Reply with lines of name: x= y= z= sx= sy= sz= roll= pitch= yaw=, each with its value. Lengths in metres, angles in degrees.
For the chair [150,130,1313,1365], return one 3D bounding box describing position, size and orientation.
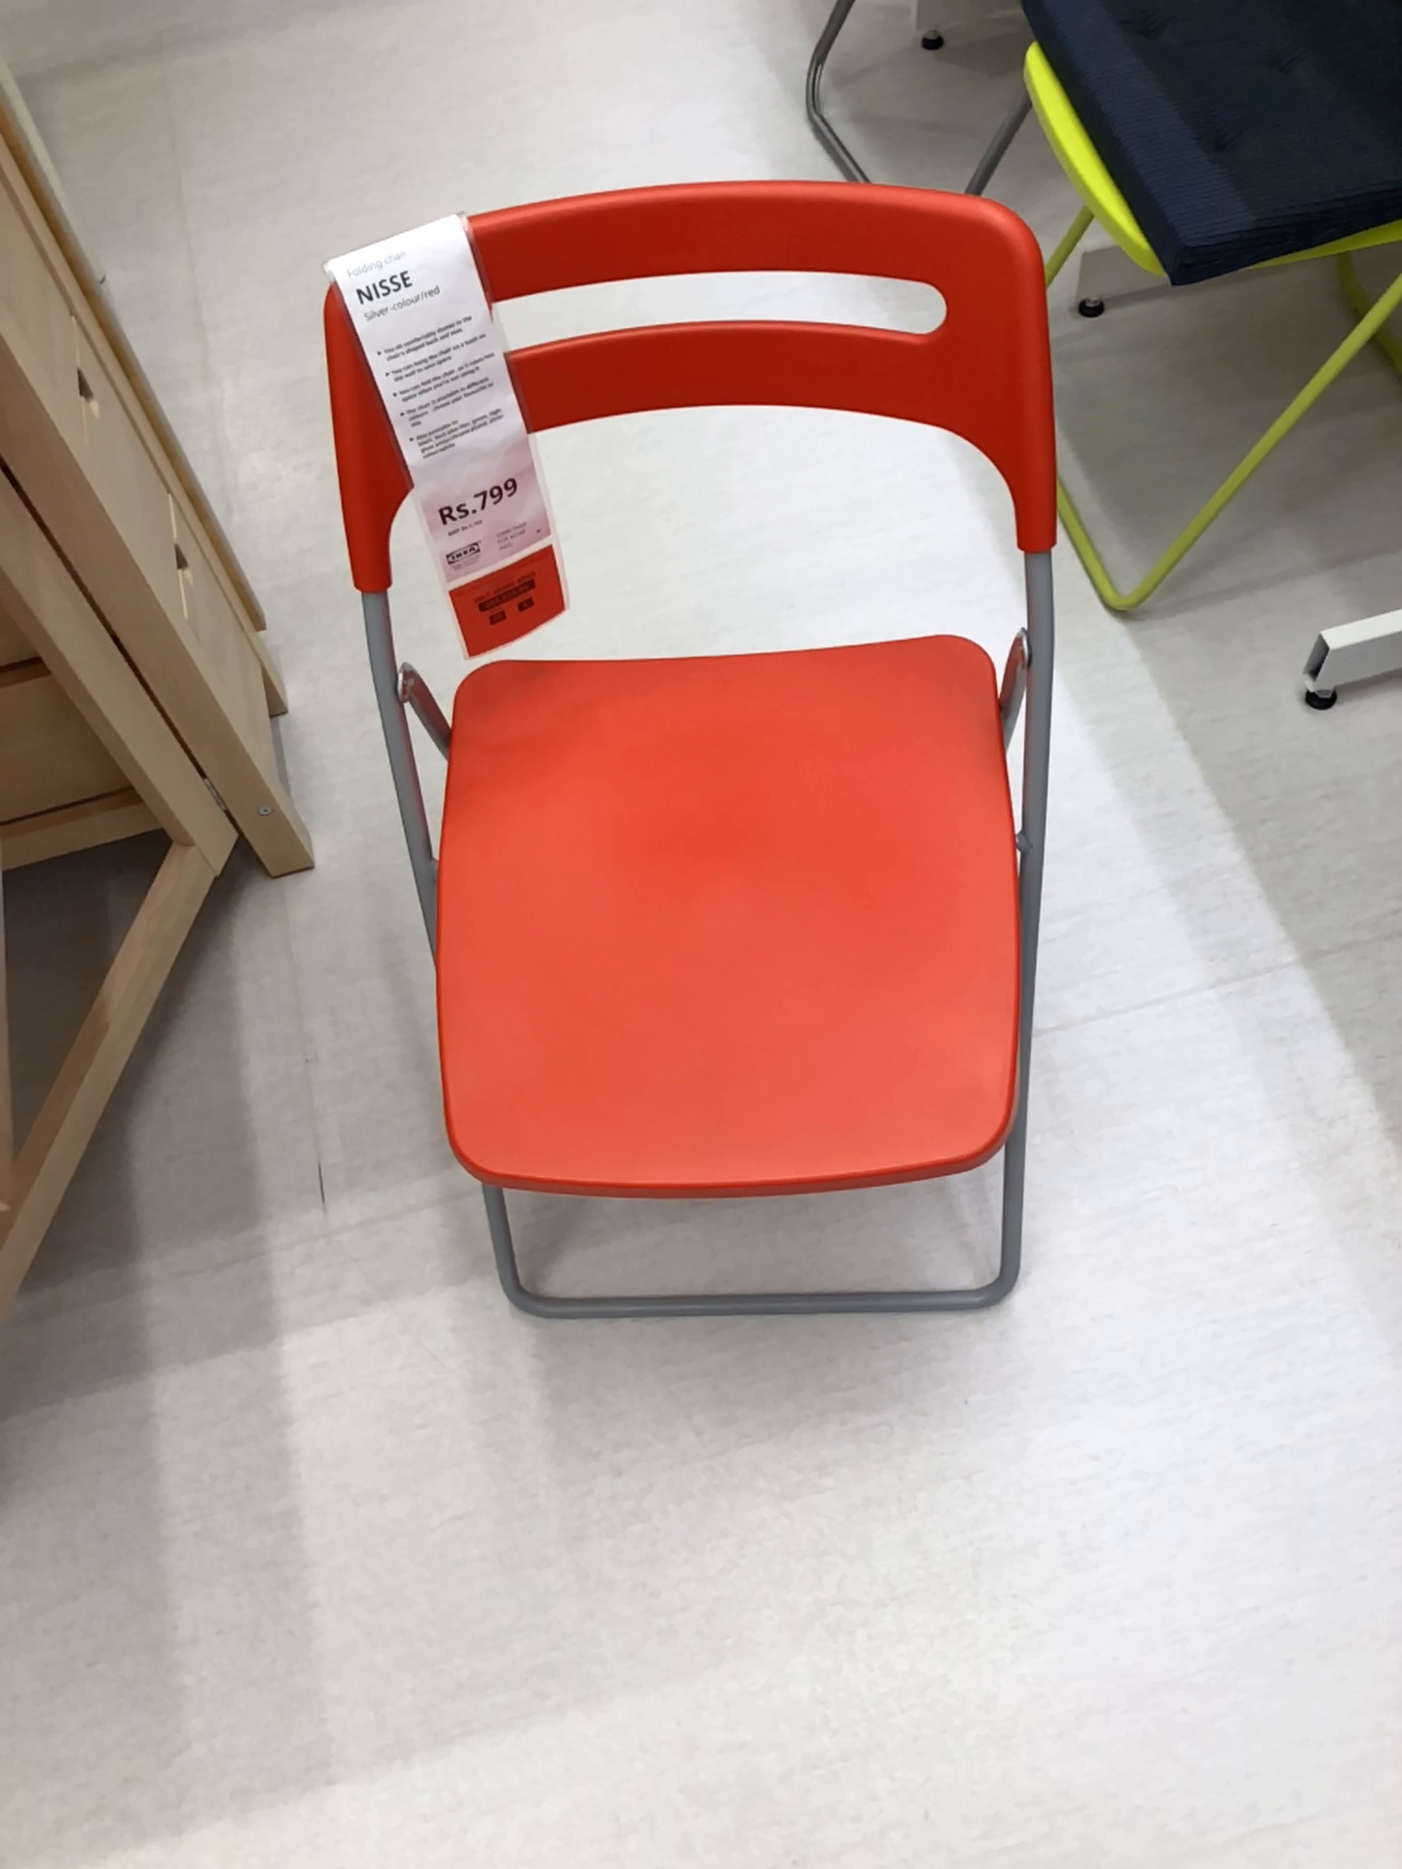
chair: x=0.028 y=-0.056 z=0.980 sx=0.450 sy=0.607 sz=0.492 roll=-3 pitch=61 yaw=4
